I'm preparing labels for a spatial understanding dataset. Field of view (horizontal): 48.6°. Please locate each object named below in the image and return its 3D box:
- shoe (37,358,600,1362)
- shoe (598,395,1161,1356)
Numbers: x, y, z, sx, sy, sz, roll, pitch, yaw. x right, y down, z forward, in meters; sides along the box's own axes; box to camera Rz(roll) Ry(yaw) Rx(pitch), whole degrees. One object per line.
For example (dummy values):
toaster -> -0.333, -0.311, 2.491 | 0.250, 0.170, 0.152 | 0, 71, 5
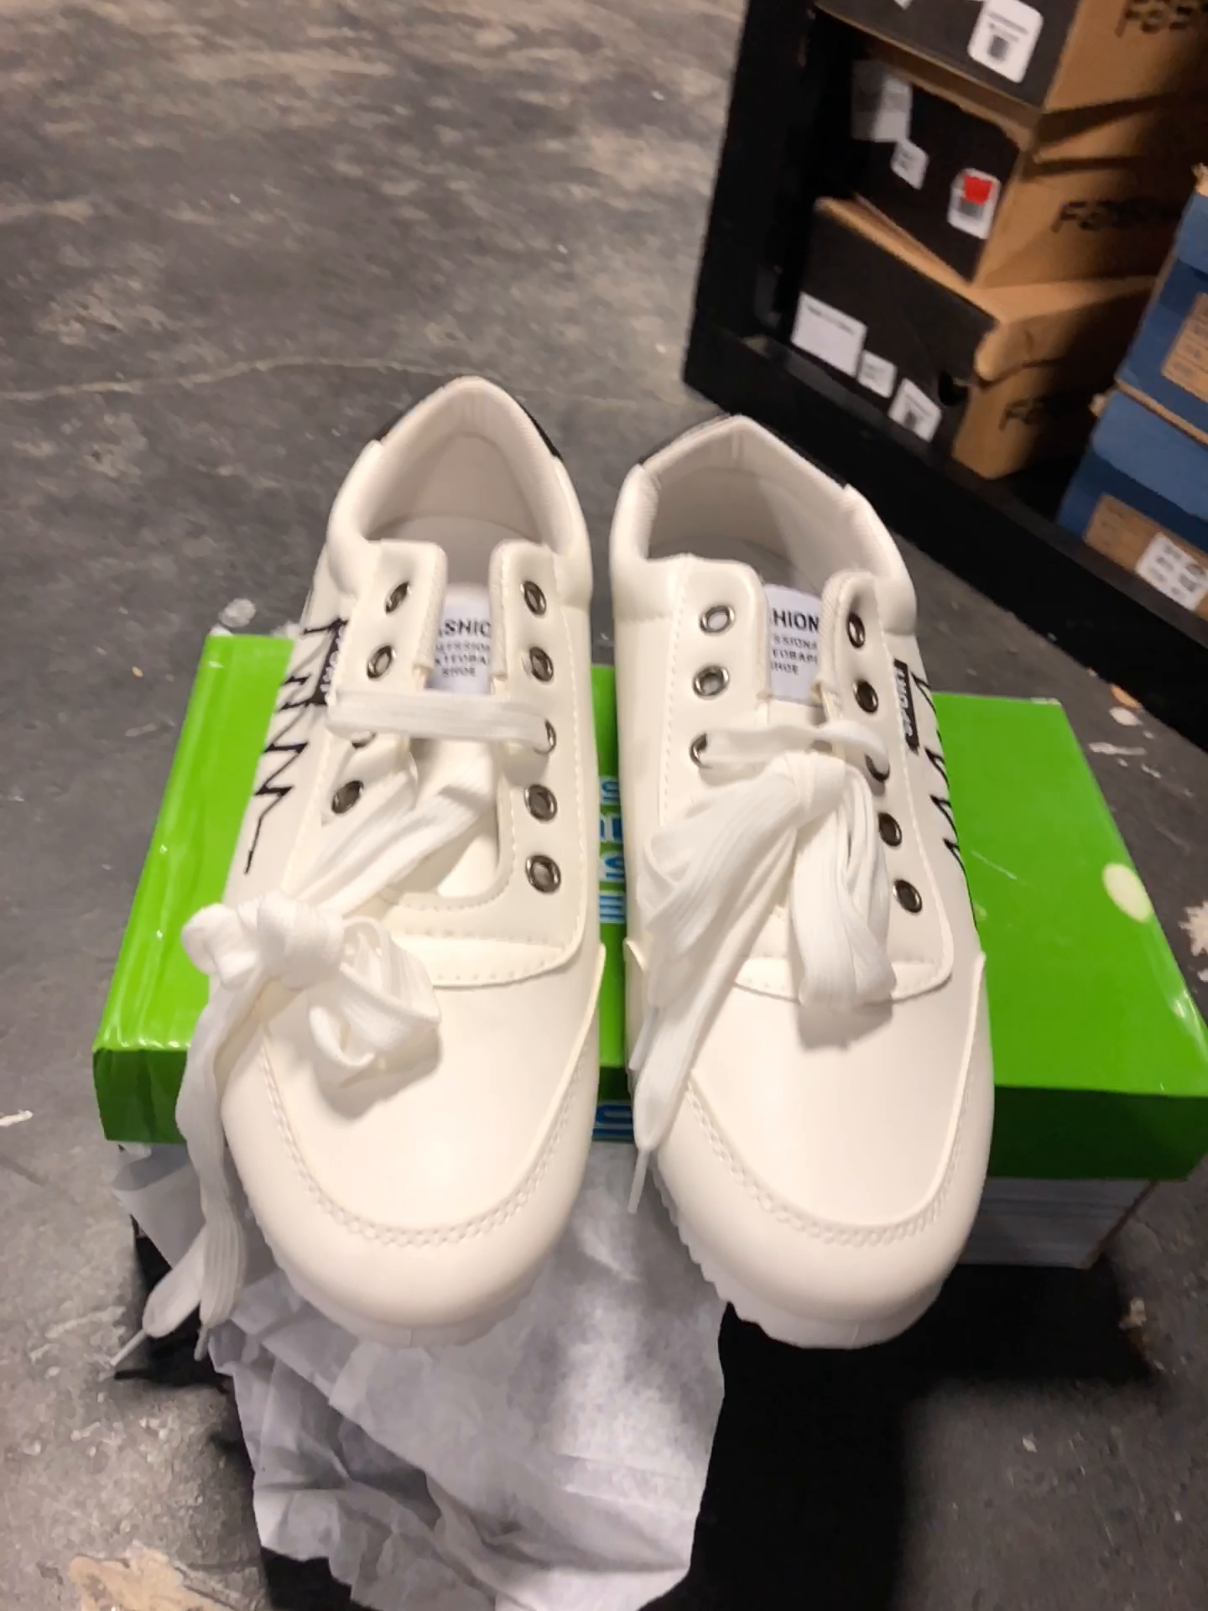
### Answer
shoe -> -0.051, -0.014, 0.345 | 0.090, 0.079, 0.282 | 0, 43, -2
shoe -> 0.048, -0.008, 0.363 | 0.090, 0.079, 0.282 | 0, 43, -2
